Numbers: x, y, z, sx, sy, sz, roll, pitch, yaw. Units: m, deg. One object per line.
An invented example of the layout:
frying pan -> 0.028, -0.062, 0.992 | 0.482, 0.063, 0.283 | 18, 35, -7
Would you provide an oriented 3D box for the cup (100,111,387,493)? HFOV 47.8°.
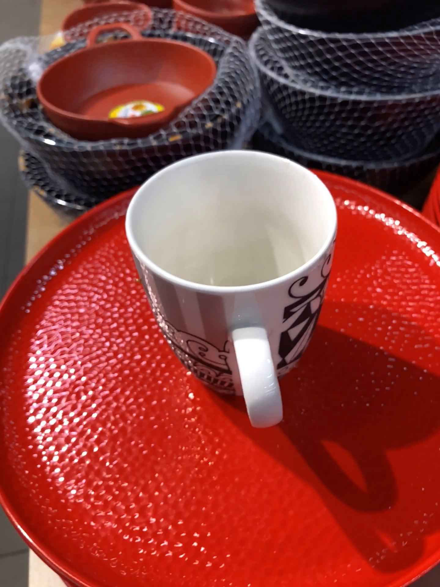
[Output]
cup -> 0.003, 0.002, 0.214 | 0.080, 0.099, 0.121 | -7, 48, -2
